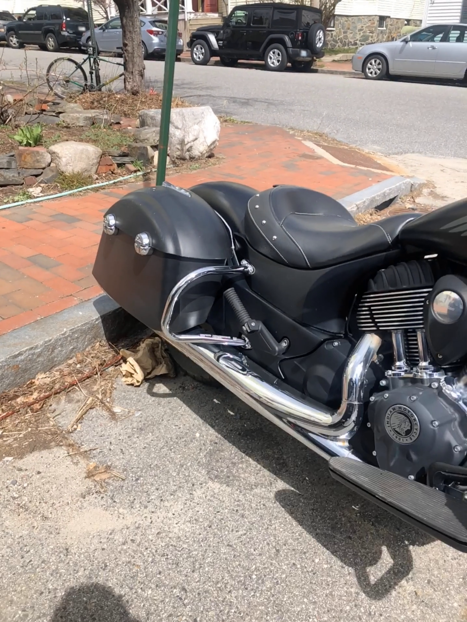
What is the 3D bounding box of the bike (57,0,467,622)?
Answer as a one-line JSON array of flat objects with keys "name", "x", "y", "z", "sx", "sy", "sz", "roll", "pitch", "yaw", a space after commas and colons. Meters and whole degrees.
[{"name": "bike", "x": 0.532, "y": 0.035, "z": 1.121, "sx": 0.783, "sy": 1.238, "sz": 2.131, "roll": -22, "pitch": 33, "yaw": -35}]
